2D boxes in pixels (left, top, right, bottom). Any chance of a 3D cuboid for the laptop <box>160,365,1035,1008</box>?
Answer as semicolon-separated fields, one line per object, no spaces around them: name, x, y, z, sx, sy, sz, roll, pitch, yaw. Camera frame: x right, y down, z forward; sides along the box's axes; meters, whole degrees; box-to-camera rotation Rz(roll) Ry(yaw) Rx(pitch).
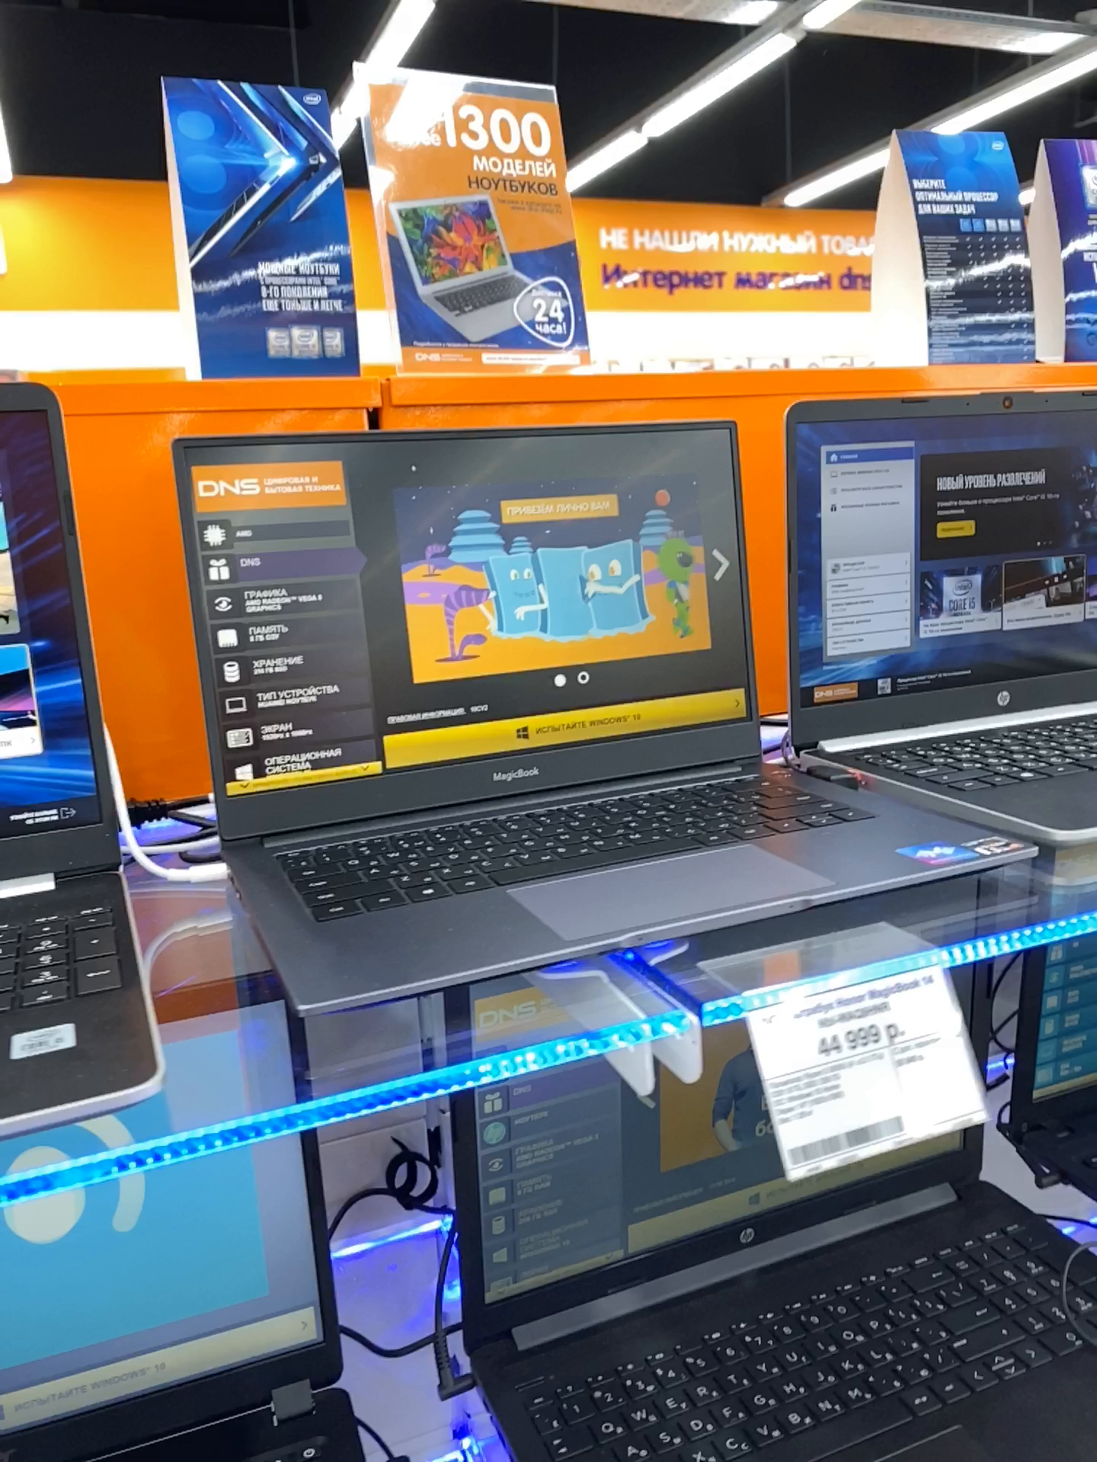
laptop;0.009;-0.046;0.521;0.323;0.203;0.238;-7;11;-22
